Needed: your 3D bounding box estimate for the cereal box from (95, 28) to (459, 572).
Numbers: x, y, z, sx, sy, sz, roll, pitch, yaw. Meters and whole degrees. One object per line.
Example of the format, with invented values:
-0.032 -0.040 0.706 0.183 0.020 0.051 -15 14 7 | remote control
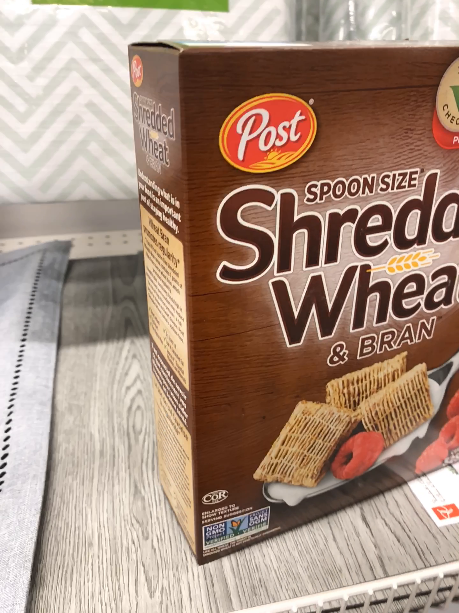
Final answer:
0.045 -0.003 0.284 0.200 0.259 0.070 -11 31 -22 | cereal box
